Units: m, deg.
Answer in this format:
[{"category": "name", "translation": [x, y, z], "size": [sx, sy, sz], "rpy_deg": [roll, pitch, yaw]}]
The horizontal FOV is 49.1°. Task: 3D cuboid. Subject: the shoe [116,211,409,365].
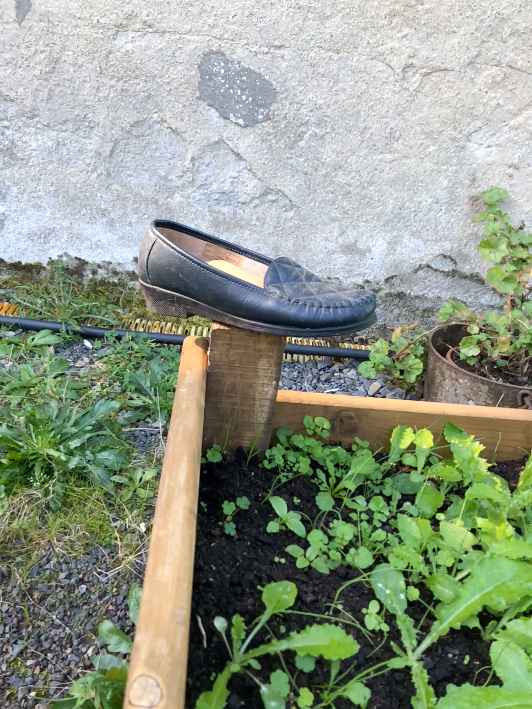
[{"category": "shoe", "translation": [-0.006, -0.075, 0.569], "size": [0.260, 0.090, 0.101], "rpy_deg": [12, 25, 21]}]
